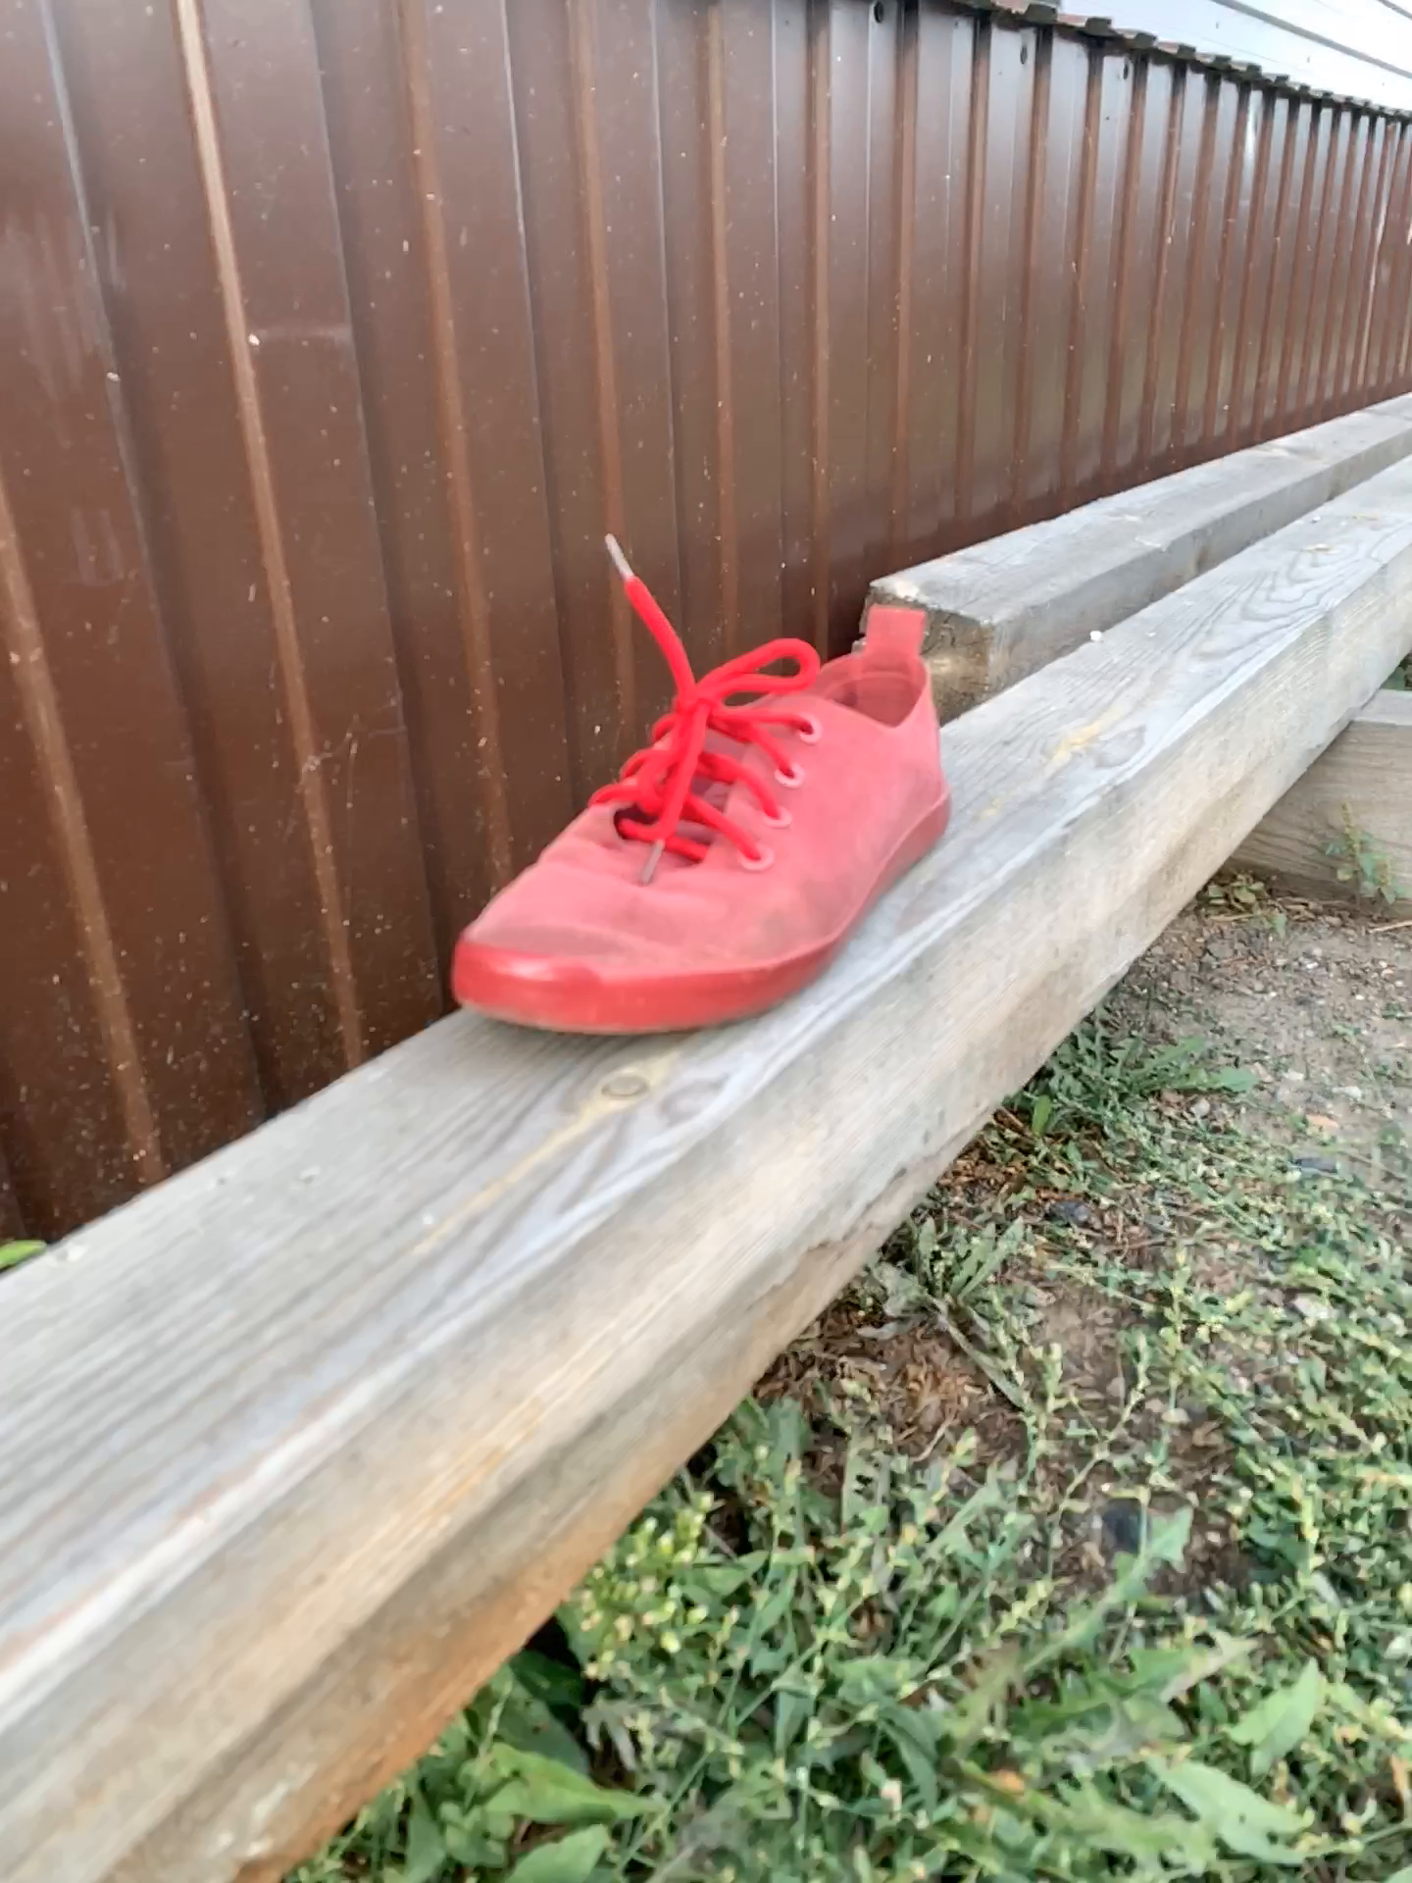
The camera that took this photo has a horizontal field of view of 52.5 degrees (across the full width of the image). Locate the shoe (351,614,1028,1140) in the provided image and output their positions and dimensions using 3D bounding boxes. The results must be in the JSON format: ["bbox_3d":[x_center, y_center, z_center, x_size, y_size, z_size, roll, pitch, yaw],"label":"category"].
[{"bbox_3d":[0.014,-0.039,0.443,0.100,0.069,0.242,10,27,27],"label":"shoe"}]
